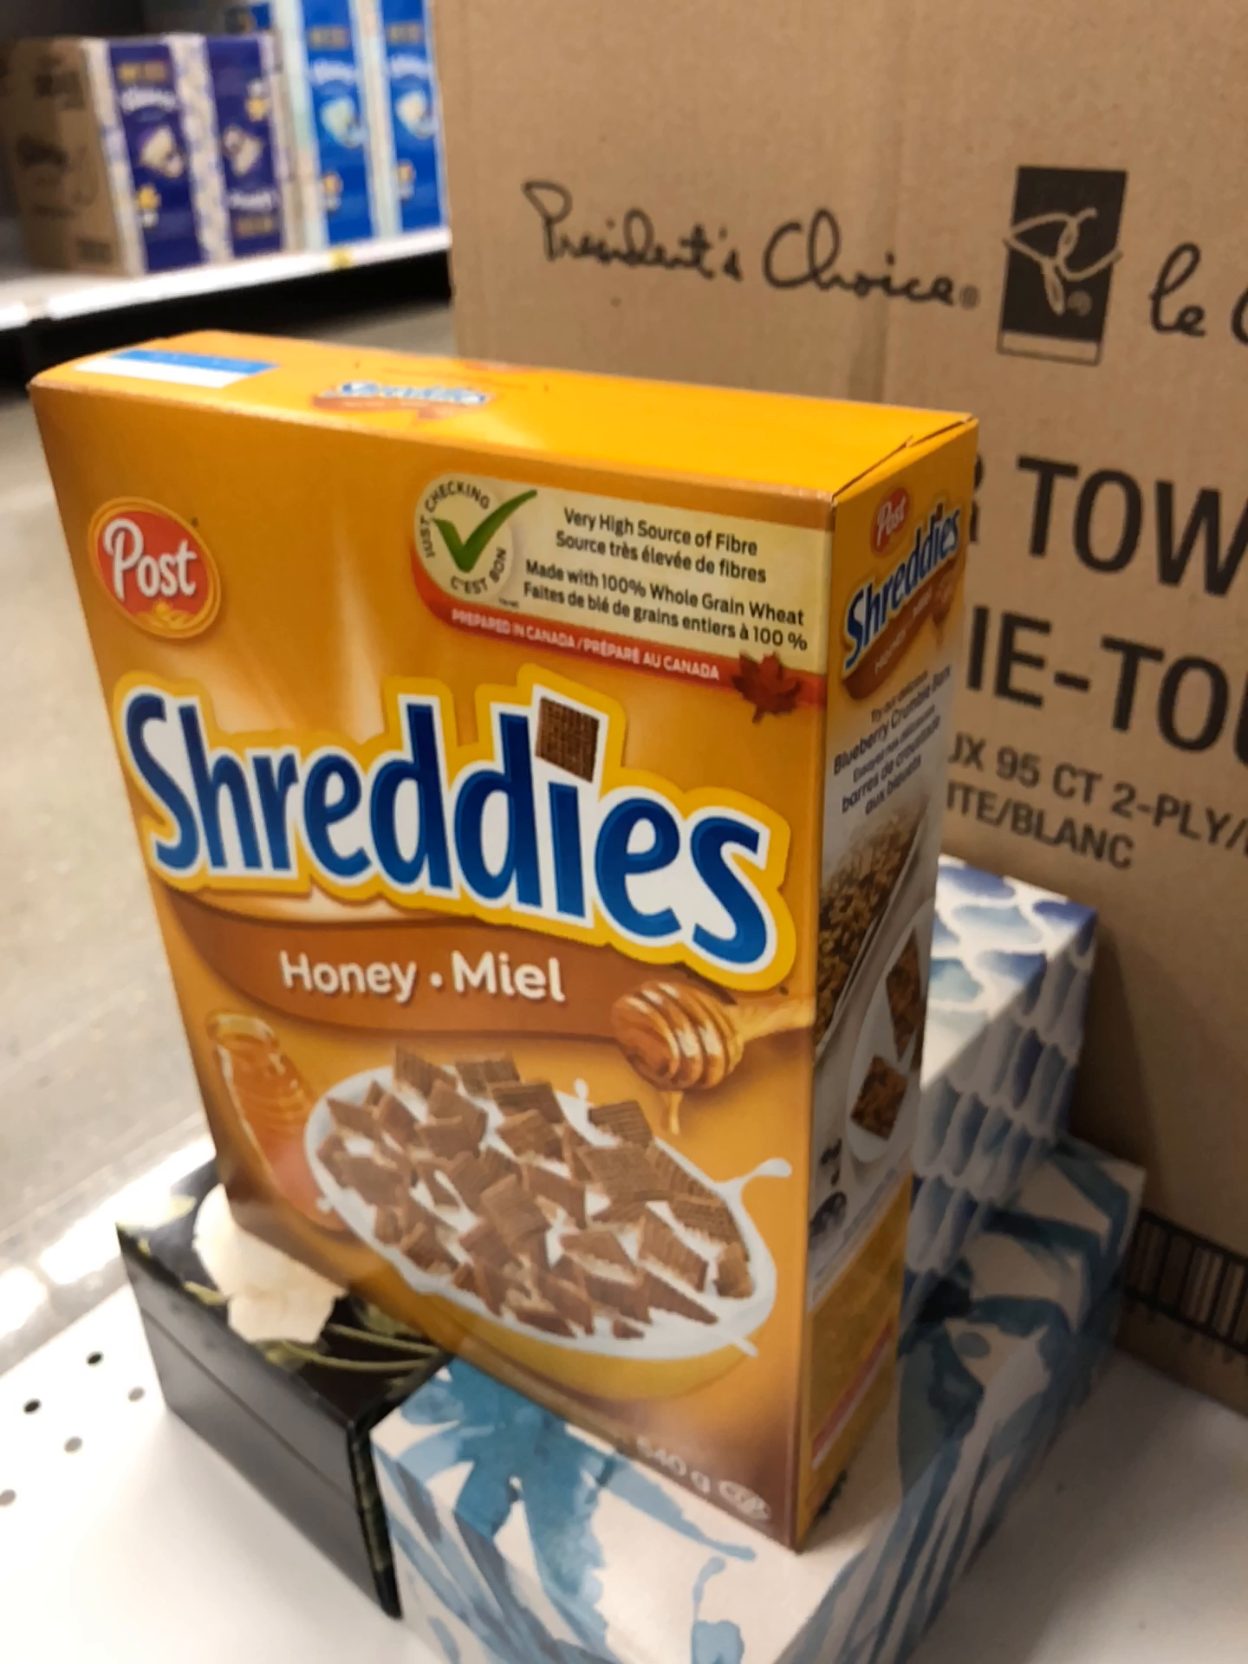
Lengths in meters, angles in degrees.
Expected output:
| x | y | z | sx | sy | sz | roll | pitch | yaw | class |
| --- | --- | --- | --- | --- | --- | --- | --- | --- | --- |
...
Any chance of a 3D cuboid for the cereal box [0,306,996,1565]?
| x | y | z | sx | sy | sz | roll | pitch | yaw | class |
| --- | --- | --- | --- | --- | --- | --- | --- | --- | --- |
| -0.038 | 0.019 | 0.345 | 0.220 | 0.259 | 0.060 | 17 | 34 | 30 | cereal box |
